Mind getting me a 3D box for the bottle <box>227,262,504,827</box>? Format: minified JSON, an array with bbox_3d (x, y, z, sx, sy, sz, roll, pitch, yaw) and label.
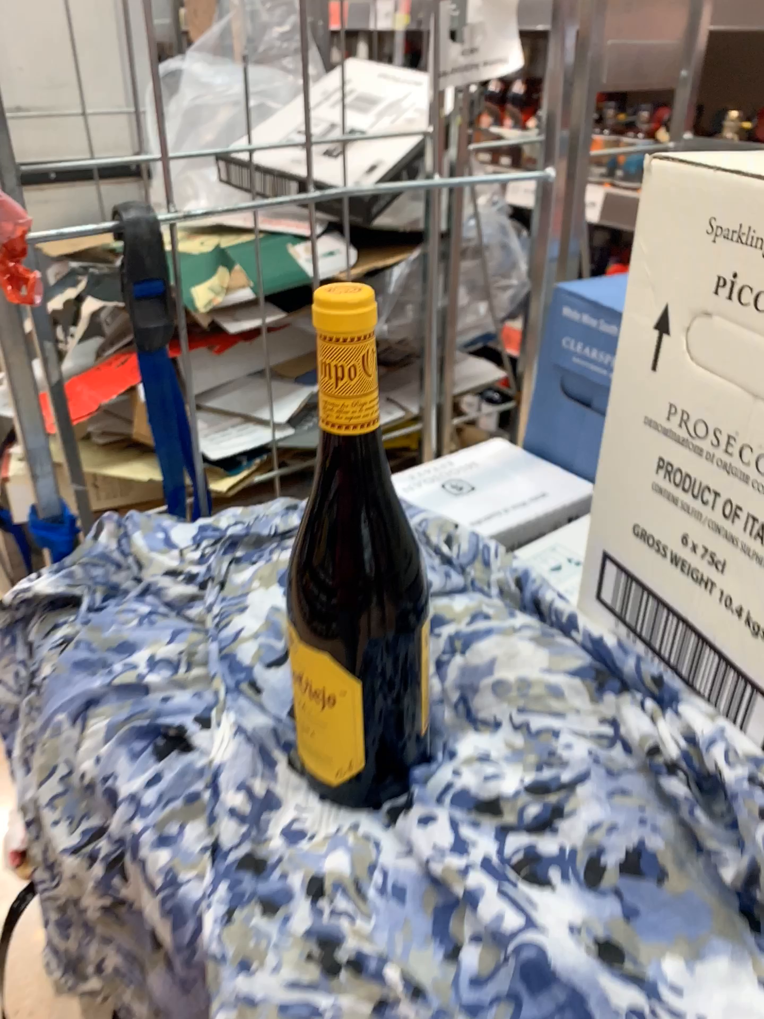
[{"bbox_3d":[-0.012,0.023,0.415,0.090,0.270,0.091,1,30,-1],"label":"bottle"}]
